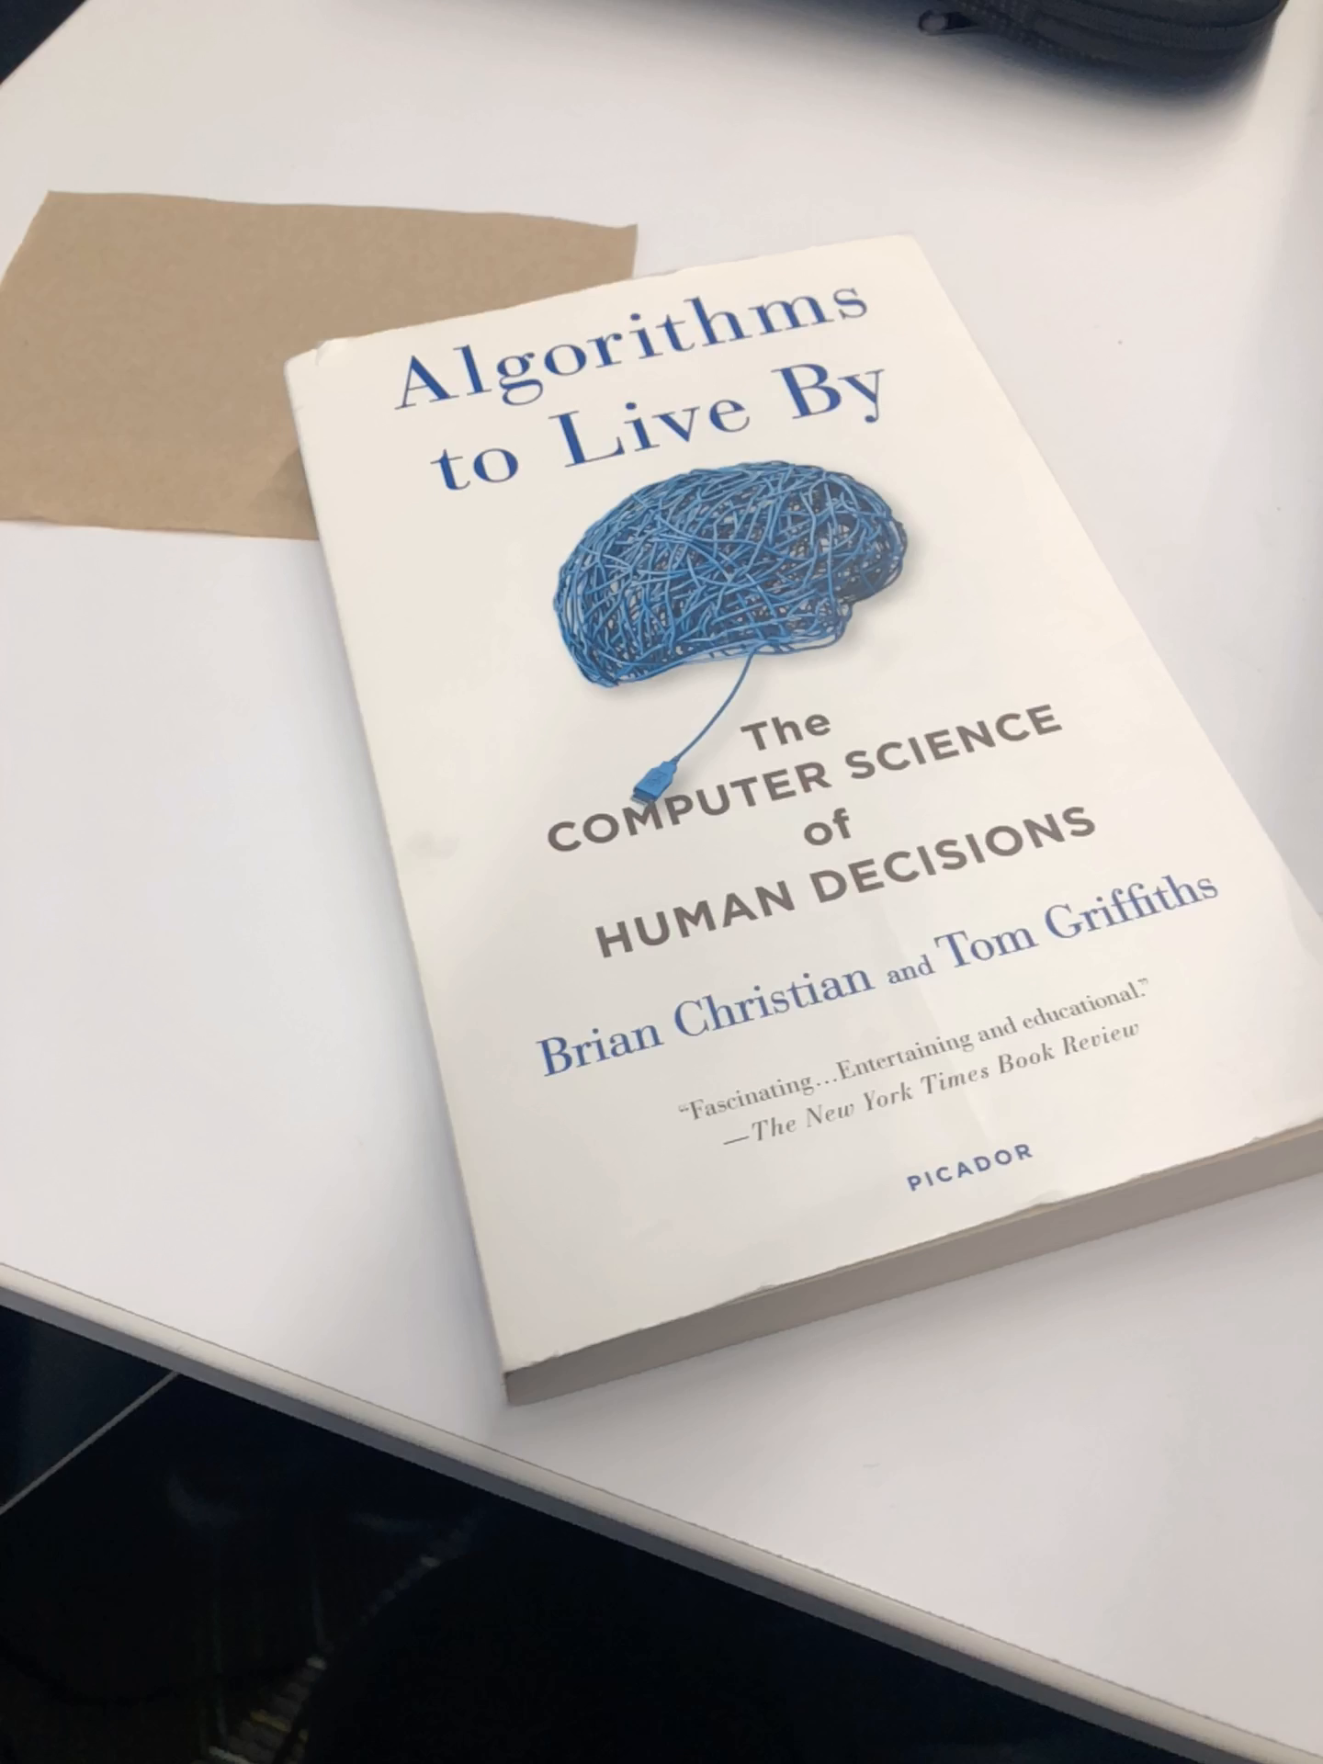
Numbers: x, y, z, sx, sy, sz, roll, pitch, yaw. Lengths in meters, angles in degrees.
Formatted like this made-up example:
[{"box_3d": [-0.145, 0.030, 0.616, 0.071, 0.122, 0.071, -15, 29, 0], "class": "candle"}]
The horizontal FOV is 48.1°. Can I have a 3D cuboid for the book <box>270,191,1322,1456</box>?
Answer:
[{"box_3d": [0.027, -0.032, 0.276, 0.160, 0.040, 0.221, -14, 59, -8], "class": "book"}]
